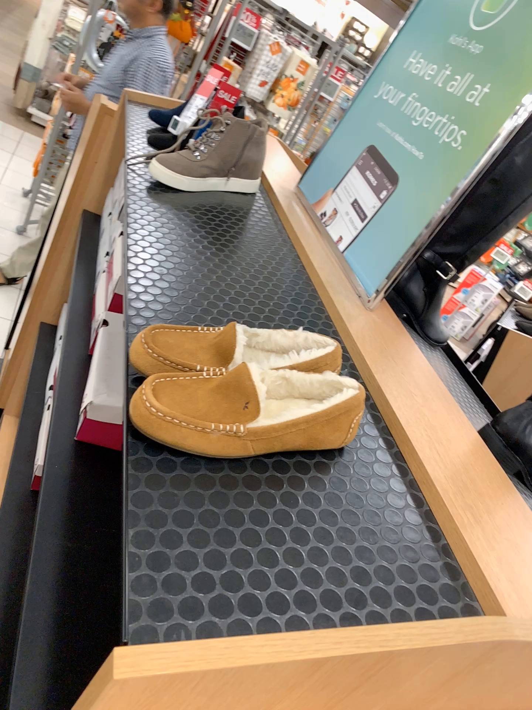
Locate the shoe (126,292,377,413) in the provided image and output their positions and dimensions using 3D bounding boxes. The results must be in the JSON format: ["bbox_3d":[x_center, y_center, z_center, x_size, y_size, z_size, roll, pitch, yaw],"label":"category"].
[{"bbox_3d":[-0.017,0.000,0.623,0.270,0.060,0.090,8,35,-20],"label":"shoe"}]

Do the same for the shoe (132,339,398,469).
[{"bbox_3d":[-0.003,0.052,0.550,0.250,0.060,0.090,8,35,-20],"label":"shoe"}]
